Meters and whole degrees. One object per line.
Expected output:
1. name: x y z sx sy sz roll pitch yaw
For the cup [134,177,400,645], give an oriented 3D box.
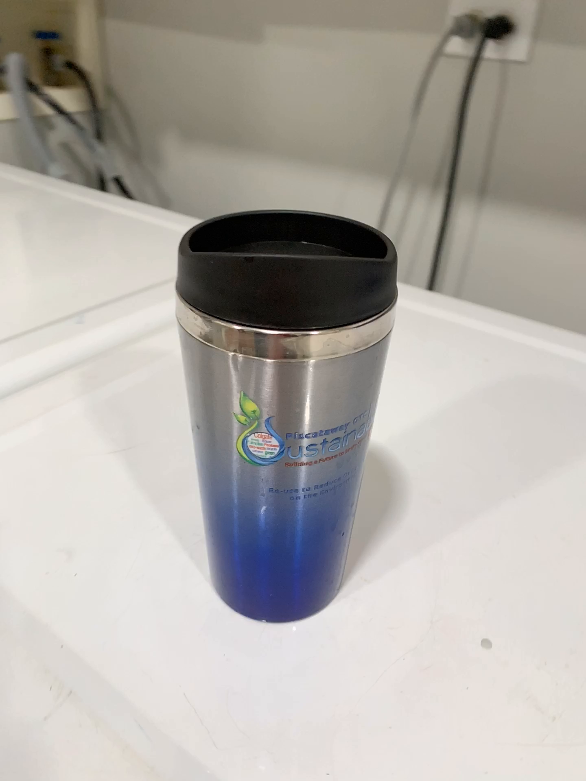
1. cup: -0.007 0.009 0.262 0.079 0.171 0.090 6 31 5
